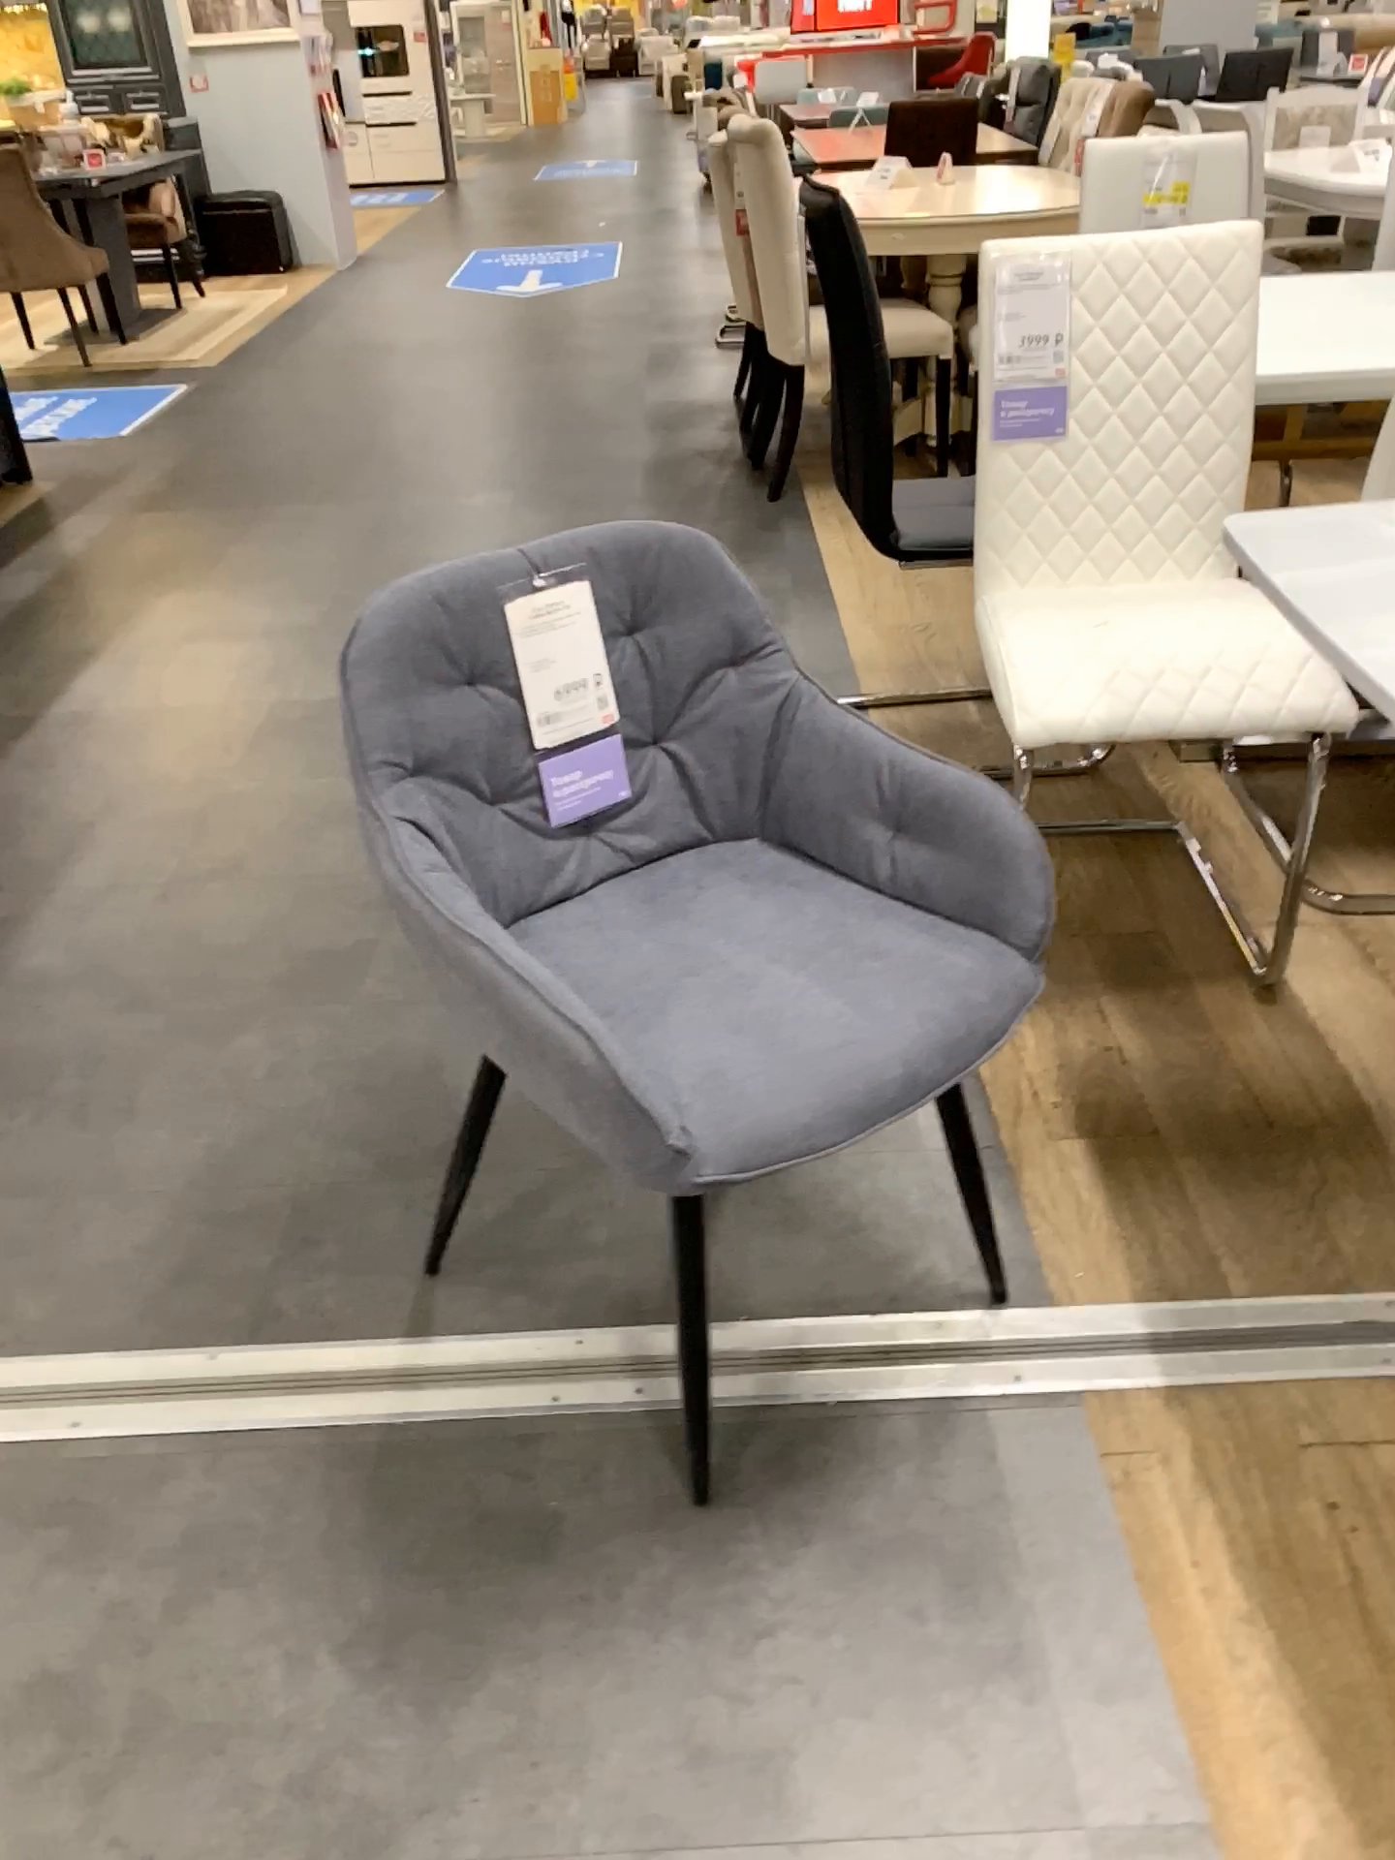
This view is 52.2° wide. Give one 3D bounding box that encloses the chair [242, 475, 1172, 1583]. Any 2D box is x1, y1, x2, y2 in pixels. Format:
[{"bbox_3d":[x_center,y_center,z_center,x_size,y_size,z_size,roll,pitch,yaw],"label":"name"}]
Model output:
[{"bbox_3d":[0.001,0.045,1.430,0.561,0.776,0.592,-23,37,-29],"label":"chair"}]
